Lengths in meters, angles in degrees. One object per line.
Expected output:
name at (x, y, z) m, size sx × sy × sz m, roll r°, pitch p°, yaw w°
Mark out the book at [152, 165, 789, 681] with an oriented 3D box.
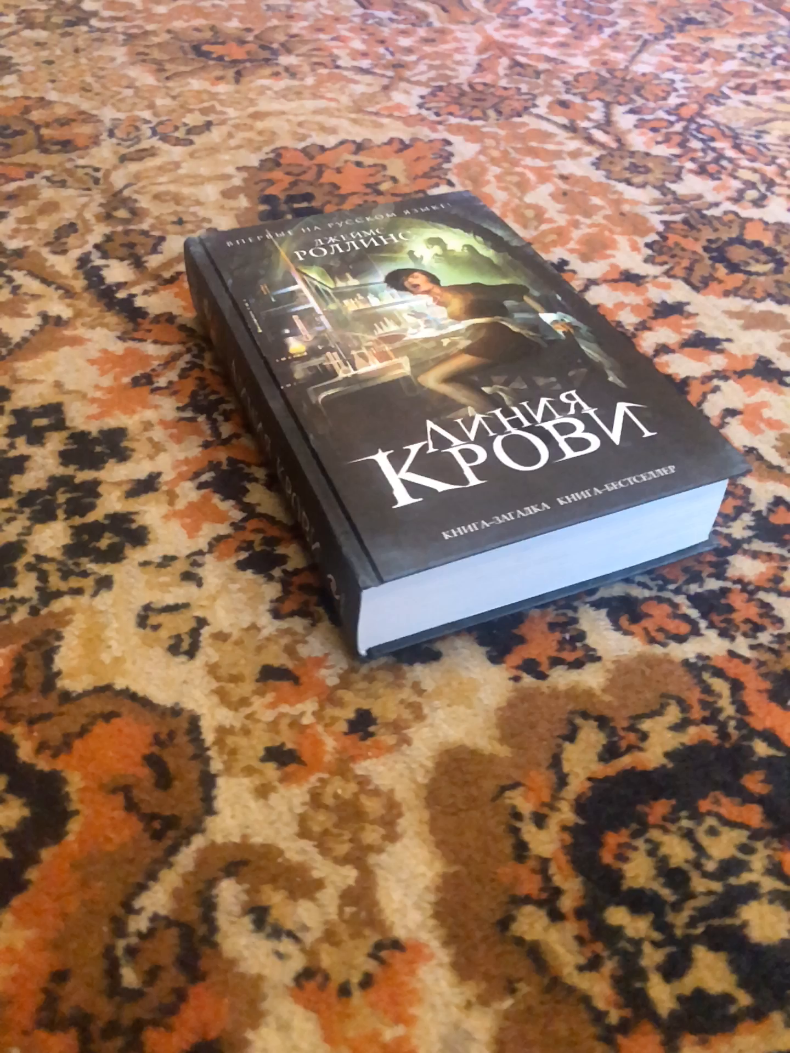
book at (0.012, -0.064, 0.345) m, size 0.159 × 0.040 × 0.226 m, roll -16°, pitch 49°, yaw -17°
